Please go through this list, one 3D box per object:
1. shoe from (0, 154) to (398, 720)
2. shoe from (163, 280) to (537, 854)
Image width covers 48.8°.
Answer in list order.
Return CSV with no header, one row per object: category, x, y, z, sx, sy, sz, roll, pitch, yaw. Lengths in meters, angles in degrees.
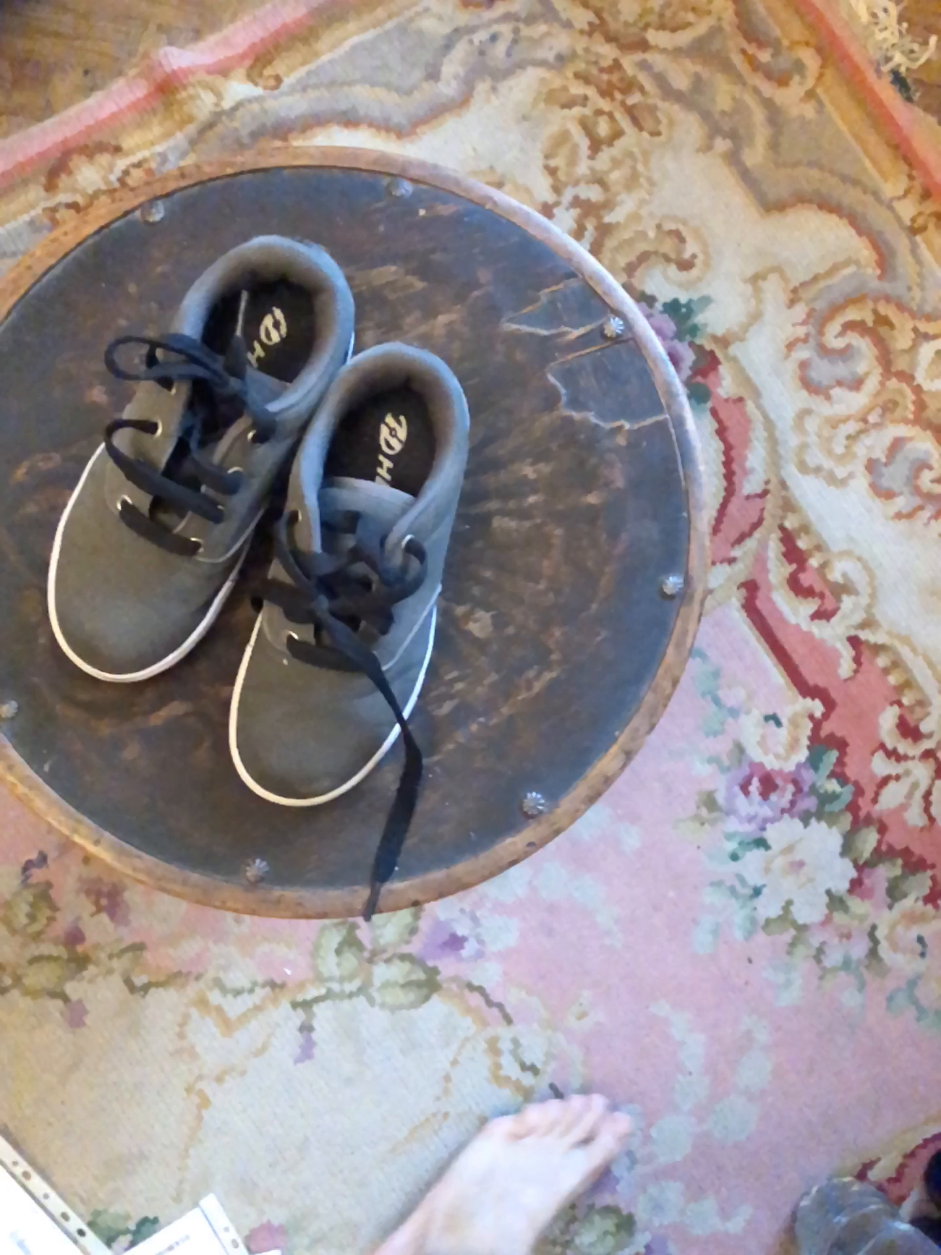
shoe,-0.120,-0.074,0.461,0.090,0.100,0.211,26,82,-4
shoe,-0.050,-0.022,0.458,0.090,0.100,0.211,16,83,-5
